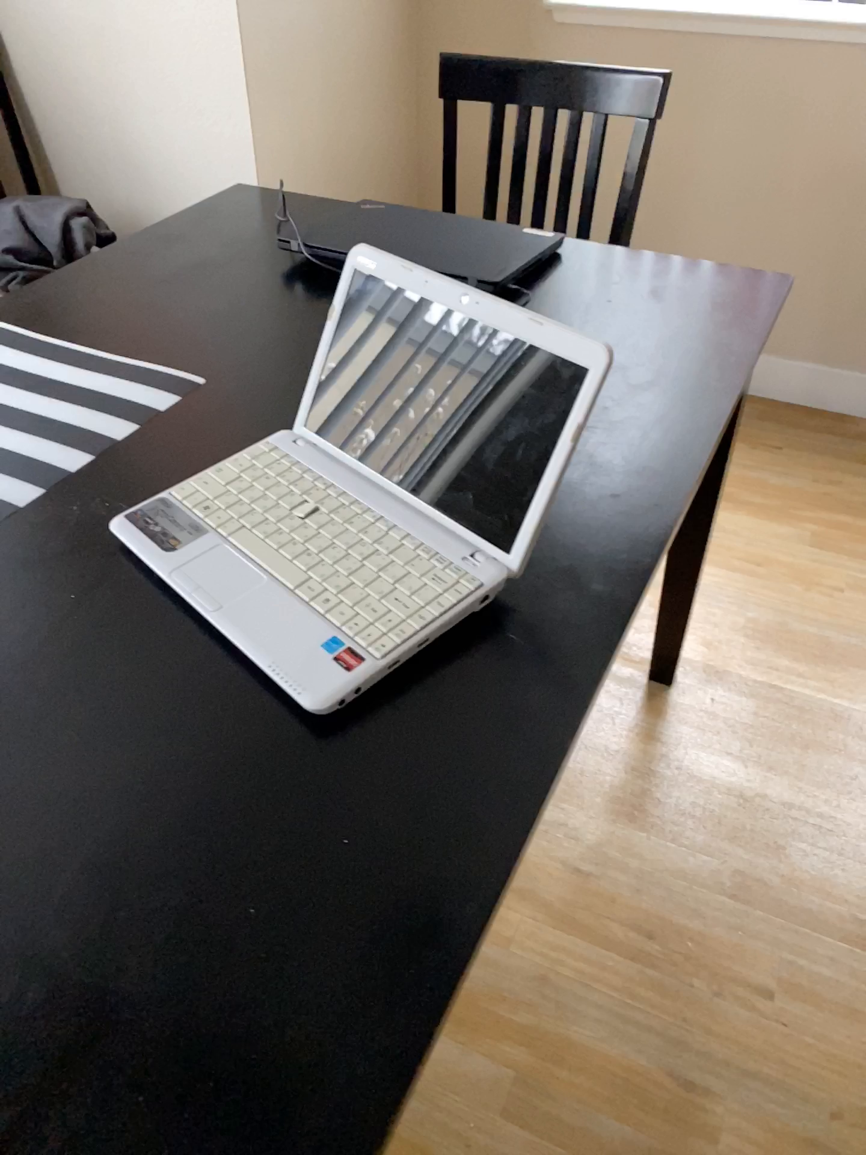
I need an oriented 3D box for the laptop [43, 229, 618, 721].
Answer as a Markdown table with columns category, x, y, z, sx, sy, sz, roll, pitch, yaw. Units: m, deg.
| category | x | y | z | sx | sy | sz | roll | pitch | yaw |
| --- | --- | --- | --- | --- | --- | --- | --- | --- | --- |
| laptop | -0.078 | -0.109 | 0.687 | 0.301 | 0.153 | 0.295 | -34 | 50 | -29 |
